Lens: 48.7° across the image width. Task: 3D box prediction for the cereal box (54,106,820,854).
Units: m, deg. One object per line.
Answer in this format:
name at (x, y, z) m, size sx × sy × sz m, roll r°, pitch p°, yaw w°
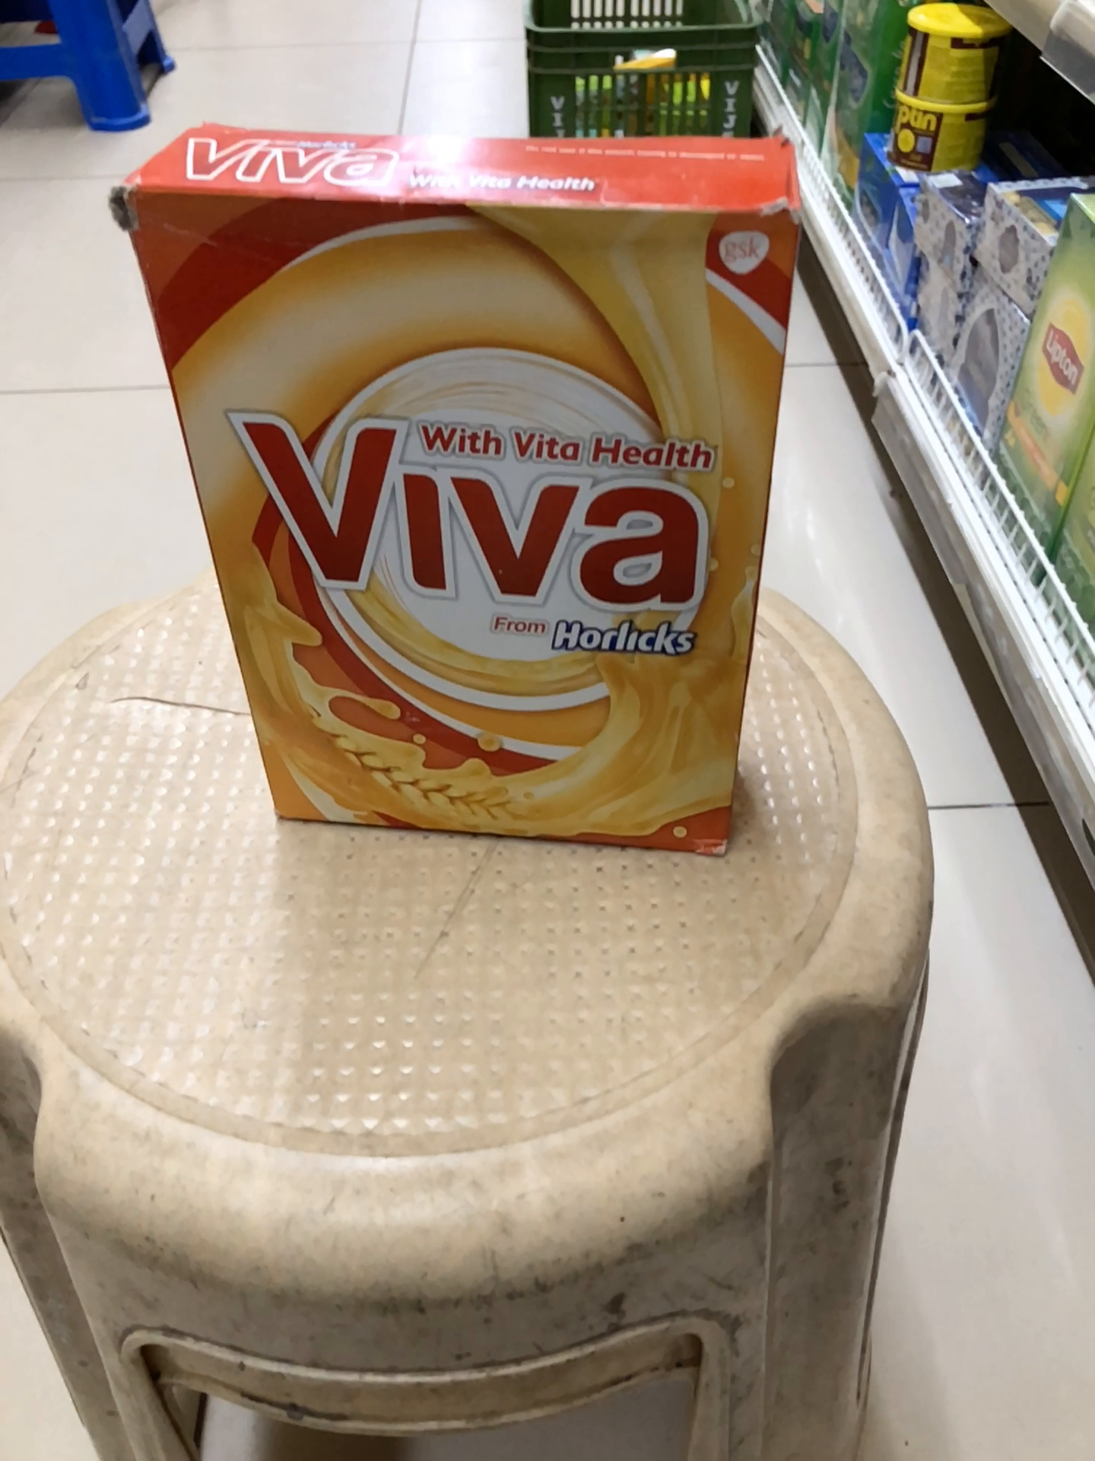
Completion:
cereal box at (-0.020, -0.056, 0.335) m, size 0.160 × 0.199 × 0.050 m, roll 4°, pitch 44°, yaw 6°
